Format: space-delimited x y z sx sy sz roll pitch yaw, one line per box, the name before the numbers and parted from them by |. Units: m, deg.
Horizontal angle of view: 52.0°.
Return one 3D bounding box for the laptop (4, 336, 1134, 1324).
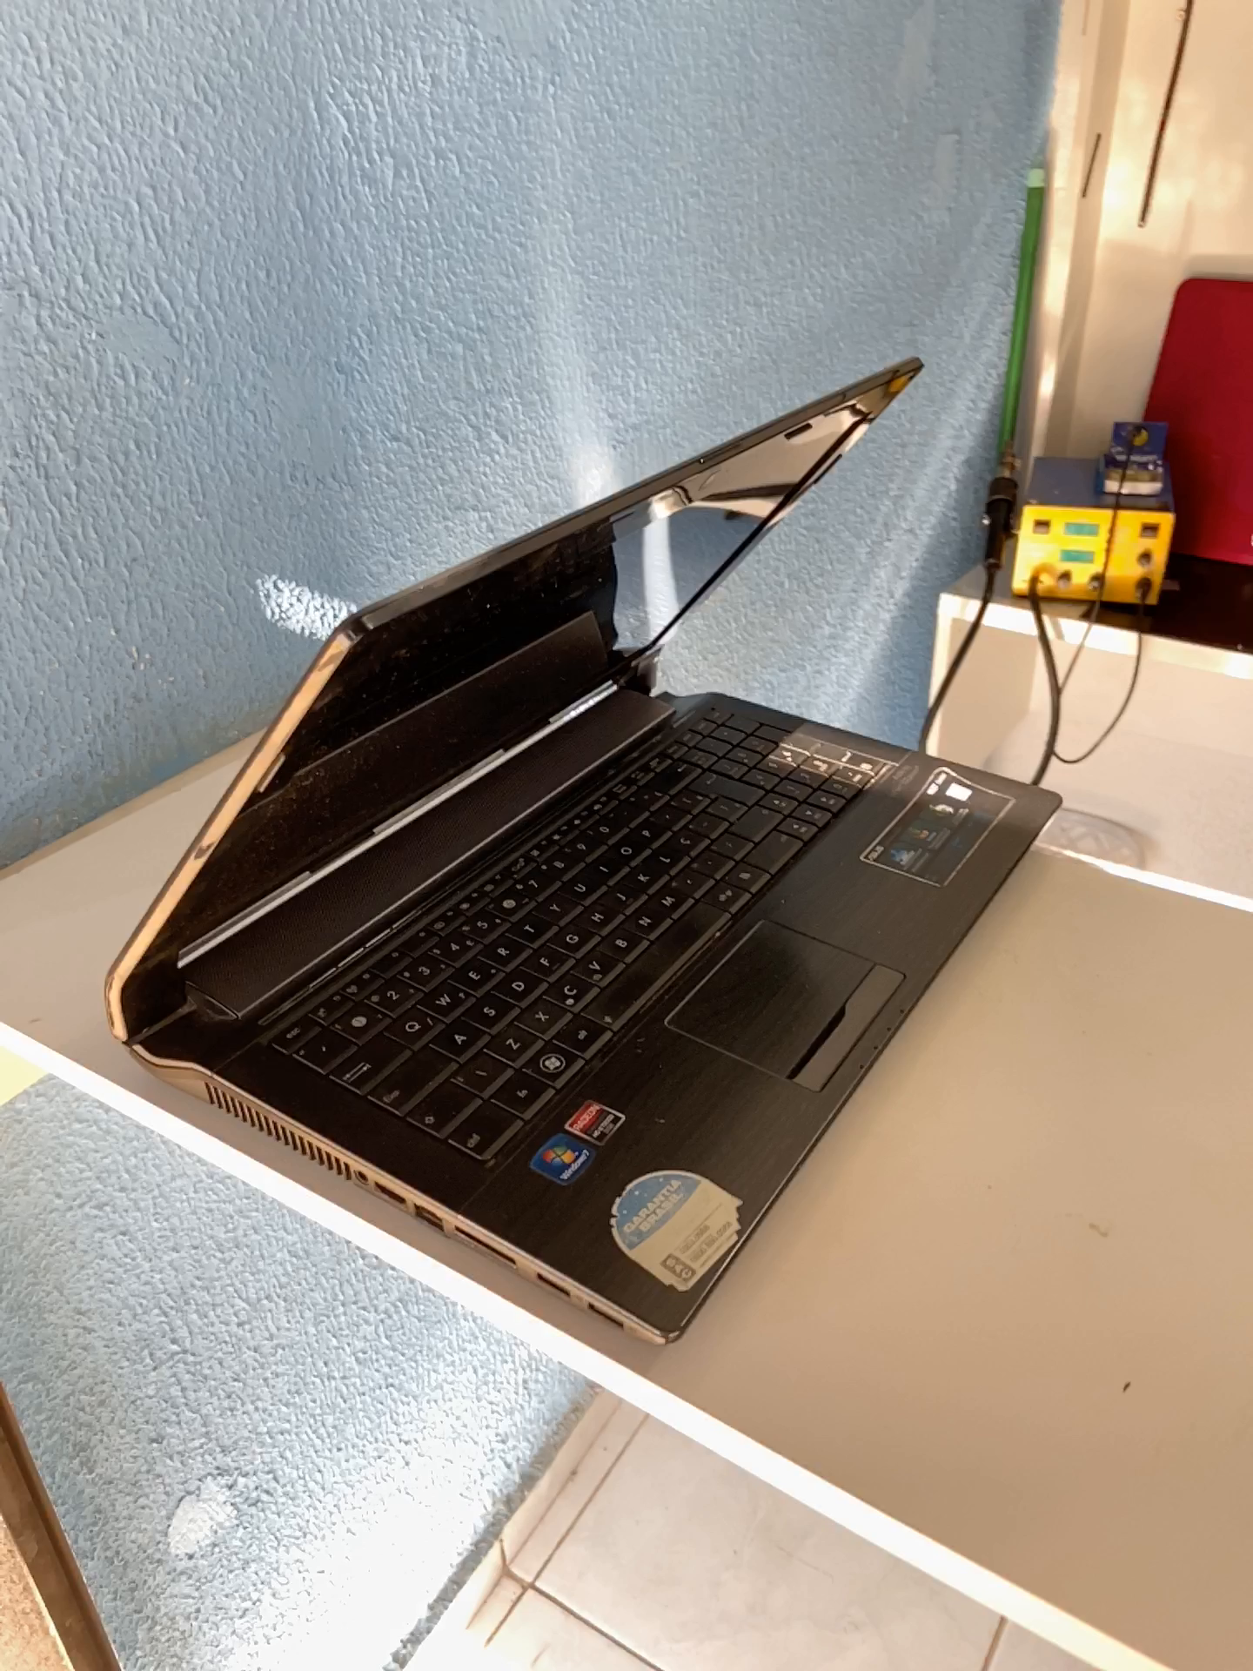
laptop | 0.015 -0.061 0.539 0.255 0.208 0.389 17 35 29
